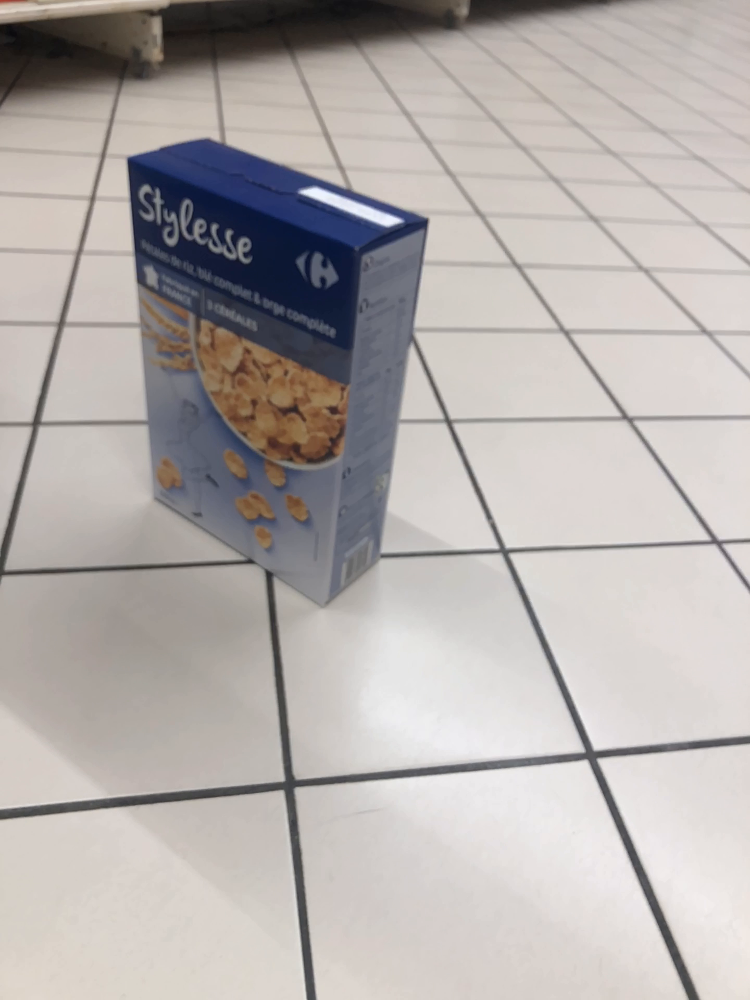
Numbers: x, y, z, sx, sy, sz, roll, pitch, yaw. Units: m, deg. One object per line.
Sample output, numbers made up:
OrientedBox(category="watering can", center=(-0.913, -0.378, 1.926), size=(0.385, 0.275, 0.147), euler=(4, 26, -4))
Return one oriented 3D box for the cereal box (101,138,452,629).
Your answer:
OrientedBox(category="cereal box", center=(-0.076, -0.077, 0.593), size=(0.210, 0.278, 0.081), euler=(28, 43, 24))
